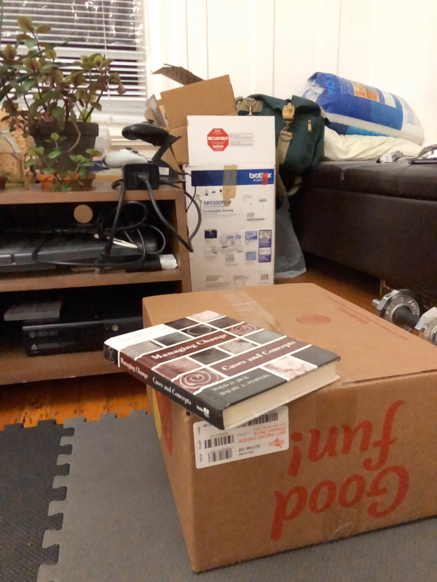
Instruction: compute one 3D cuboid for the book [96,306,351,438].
[{"bbox_3d":[-0.004,0.075,0.564,0.180,0.030,0.250,-13,18,-37],"label":"book"}]
